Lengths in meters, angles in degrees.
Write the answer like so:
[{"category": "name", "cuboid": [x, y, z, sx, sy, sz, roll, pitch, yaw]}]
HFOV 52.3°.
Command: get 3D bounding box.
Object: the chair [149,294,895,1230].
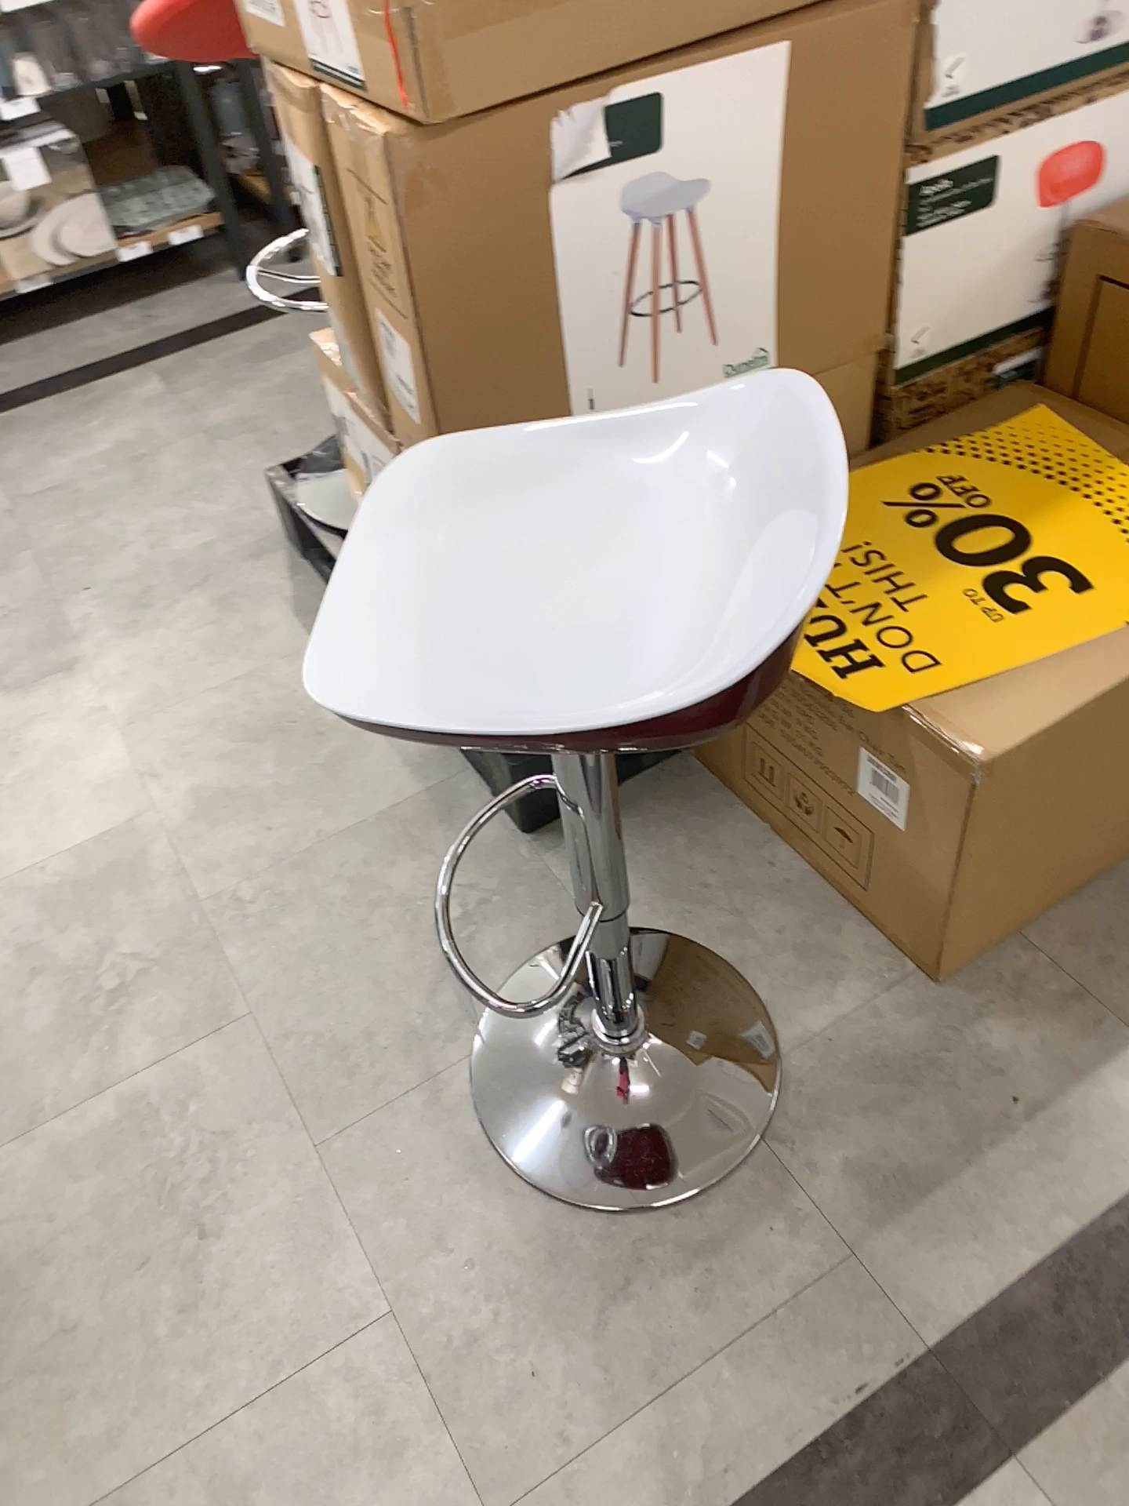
[{"category": "chair", "cuboid": [0.024, 0.066, 1.093, 0.434, 0.793, 0.439, -2, 45, 7]}]
